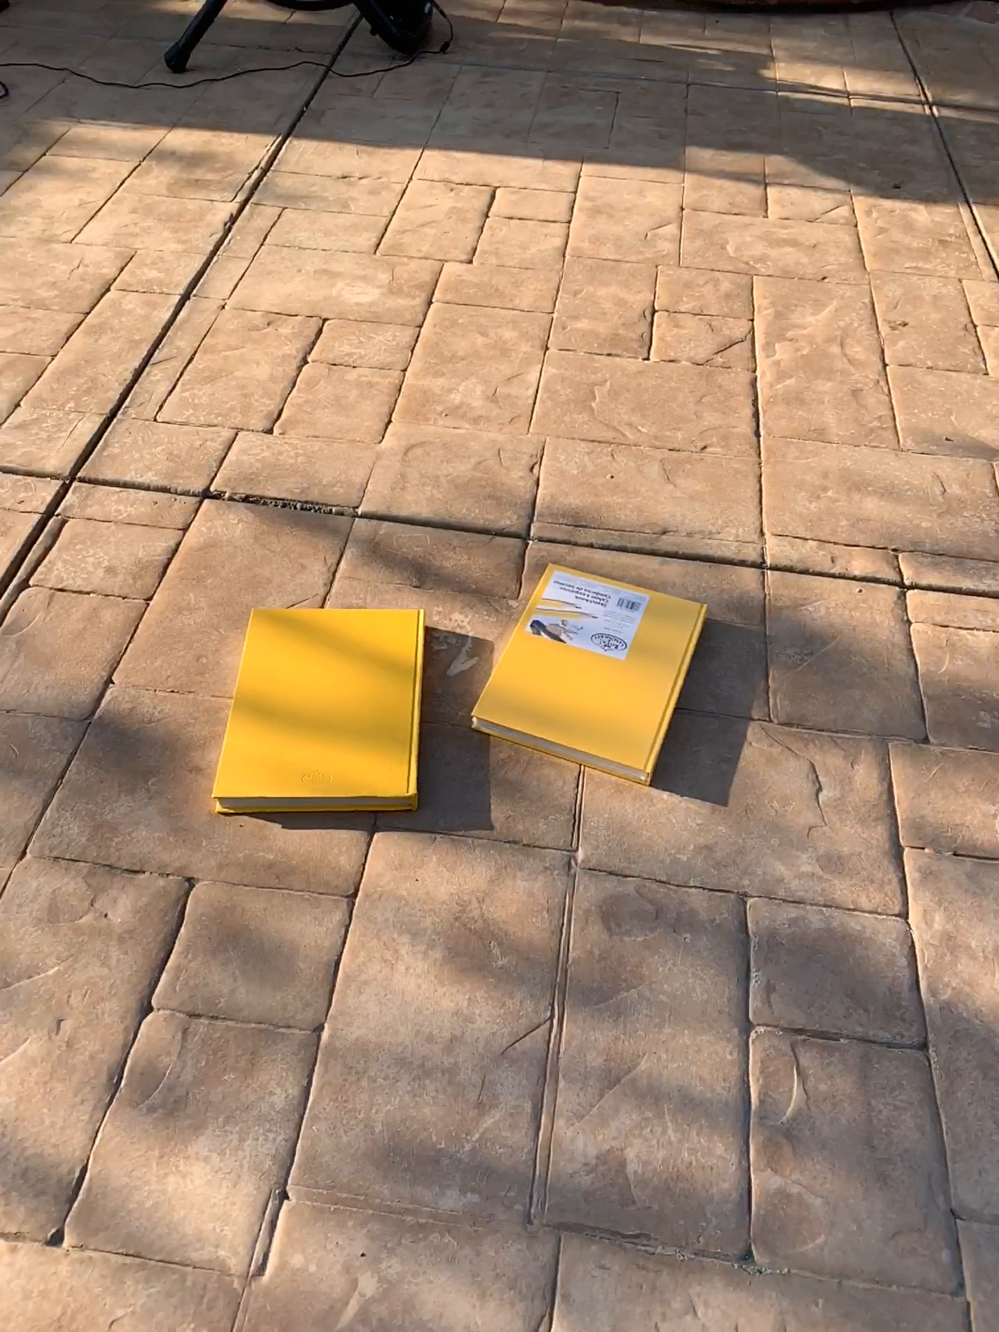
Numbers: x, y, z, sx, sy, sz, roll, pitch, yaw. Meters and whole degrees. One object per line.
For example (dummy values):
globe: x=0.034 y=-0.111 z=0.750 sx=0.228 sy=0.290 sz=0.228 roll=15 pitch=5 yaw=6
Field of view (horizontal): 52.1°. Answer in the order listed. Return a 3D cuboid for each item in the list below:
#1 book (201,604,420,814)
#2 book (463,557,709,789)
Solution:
book: x=-0.206 y=0.041 z=1.179 sx=0.220 sy=0.030 sz=0.290 roll=0 pitch=47 yaw=-2
book: x=0.110 y=-0.002 z=1.229 sx=0.220 sy=0.030 sz=0.274 roll=16 pitch=53 yaw=13
